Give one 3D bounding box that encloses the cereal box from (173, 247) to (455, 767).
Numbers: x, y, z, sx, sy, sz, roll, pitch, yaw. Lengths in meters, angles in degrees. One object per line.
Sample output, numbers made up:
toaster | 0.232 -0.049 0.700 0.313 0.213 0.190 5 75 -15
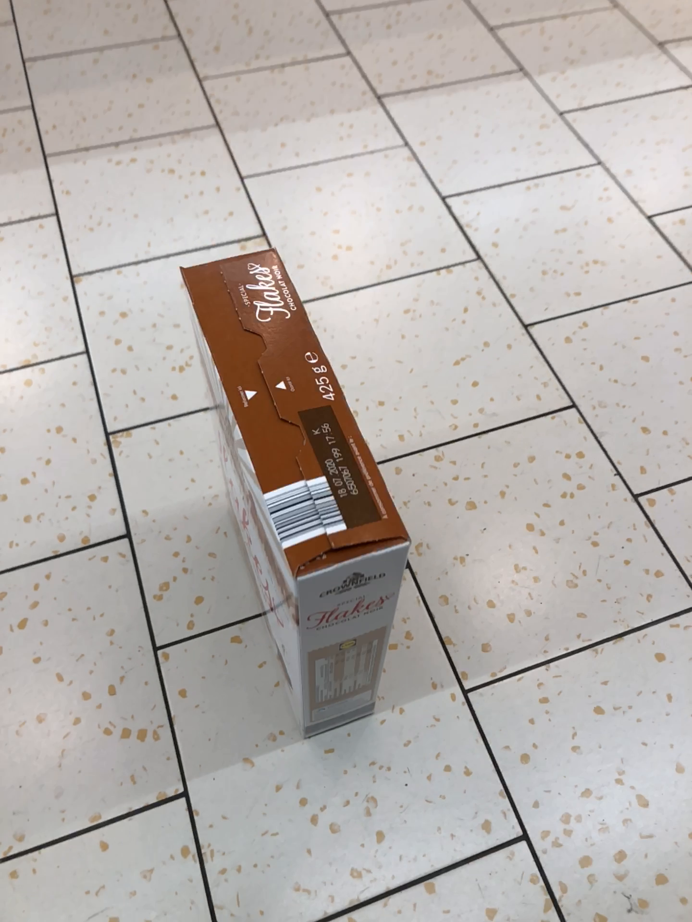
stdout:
cereal box | -0.025 0.044 0.460 0.070 0.259 0.201 -16 58 -12
